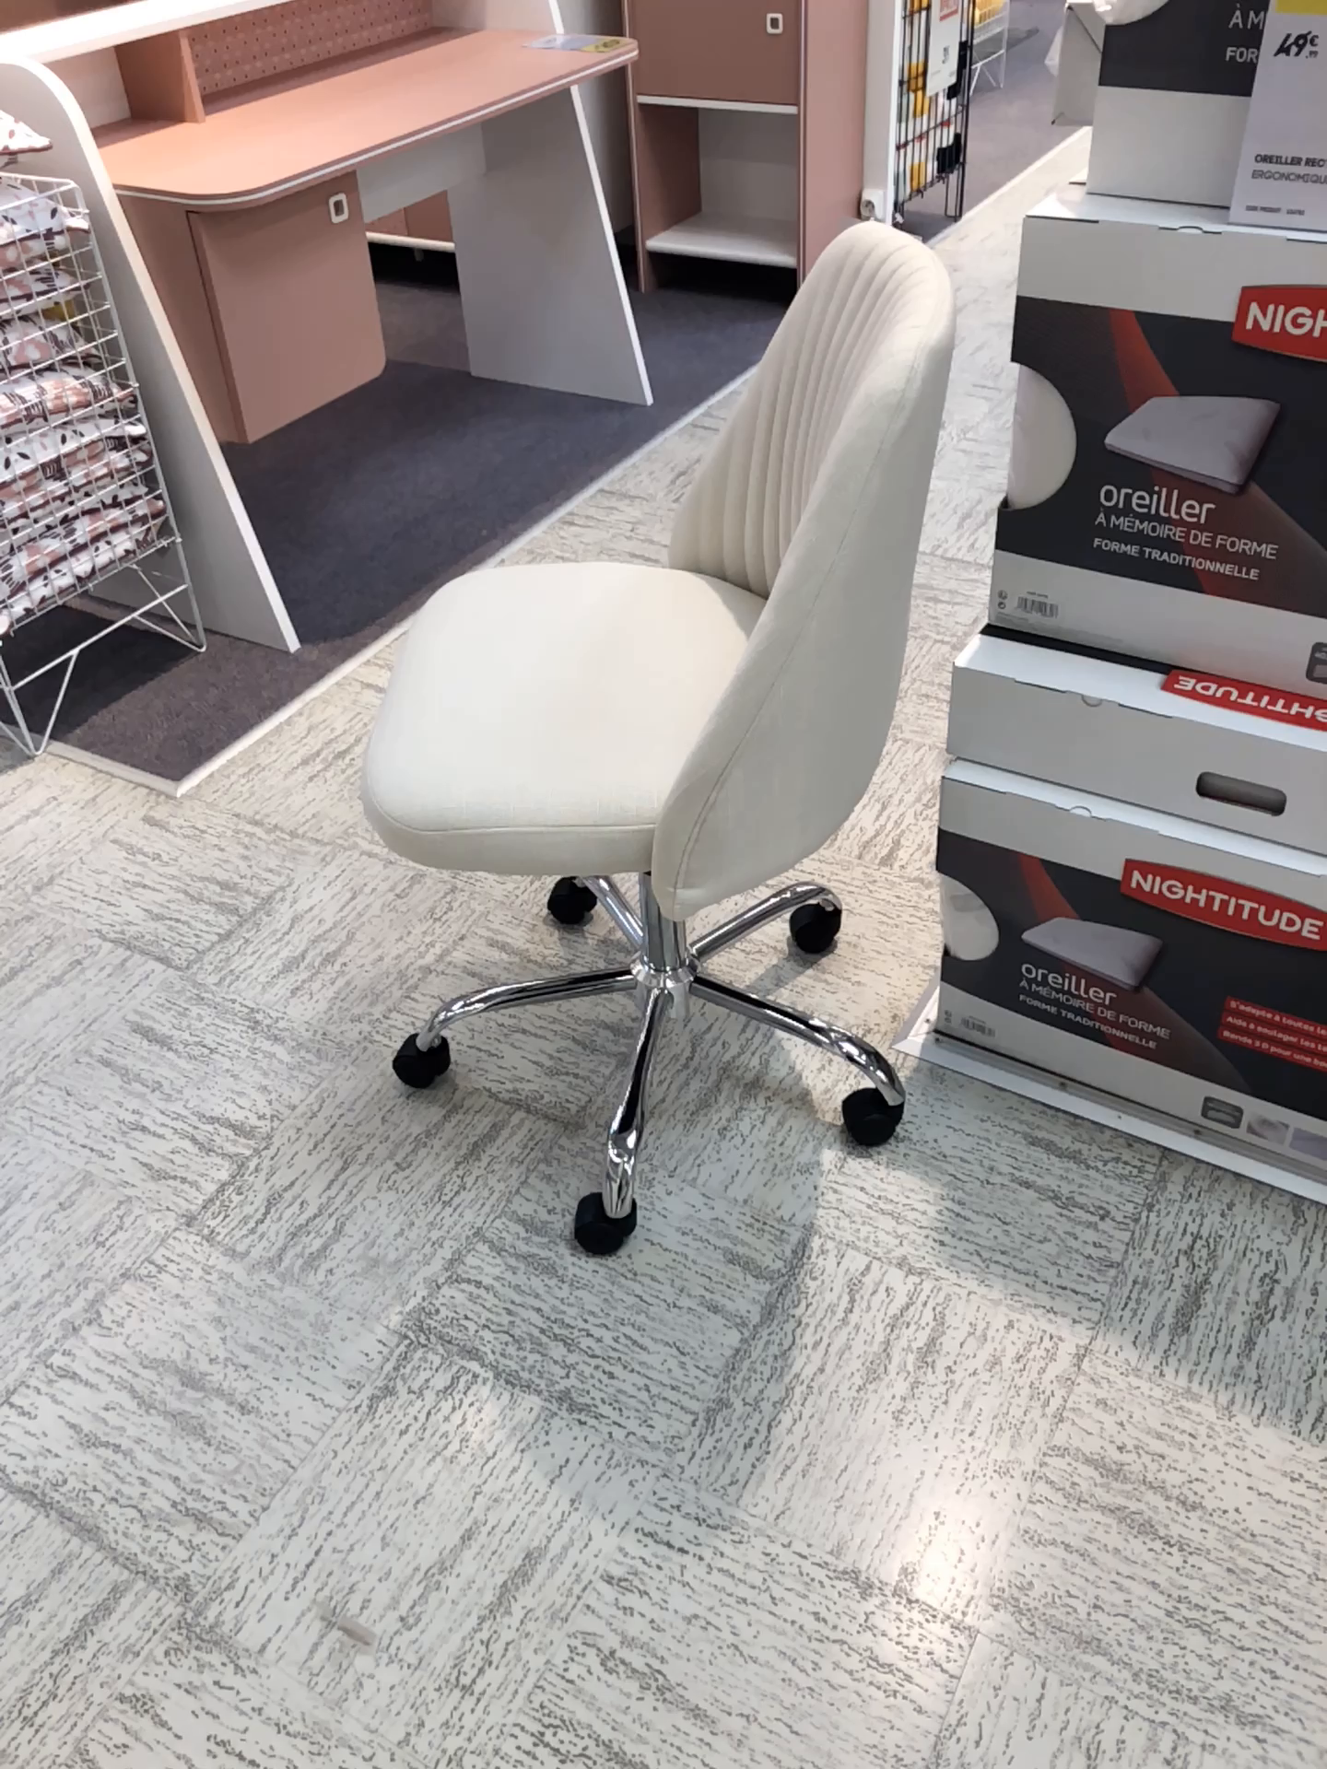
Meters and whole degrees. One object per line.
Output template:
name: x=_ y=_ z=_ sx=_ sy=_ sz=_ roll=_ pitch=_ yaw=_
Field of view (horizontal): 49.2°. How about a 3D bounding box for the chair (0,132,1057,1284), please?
chair: x=-0.079 y=-0.180 z=1.378 sx=0.630 sy=0.785 sz=0.704 roll=-5 pitch=39 yaw=-1
